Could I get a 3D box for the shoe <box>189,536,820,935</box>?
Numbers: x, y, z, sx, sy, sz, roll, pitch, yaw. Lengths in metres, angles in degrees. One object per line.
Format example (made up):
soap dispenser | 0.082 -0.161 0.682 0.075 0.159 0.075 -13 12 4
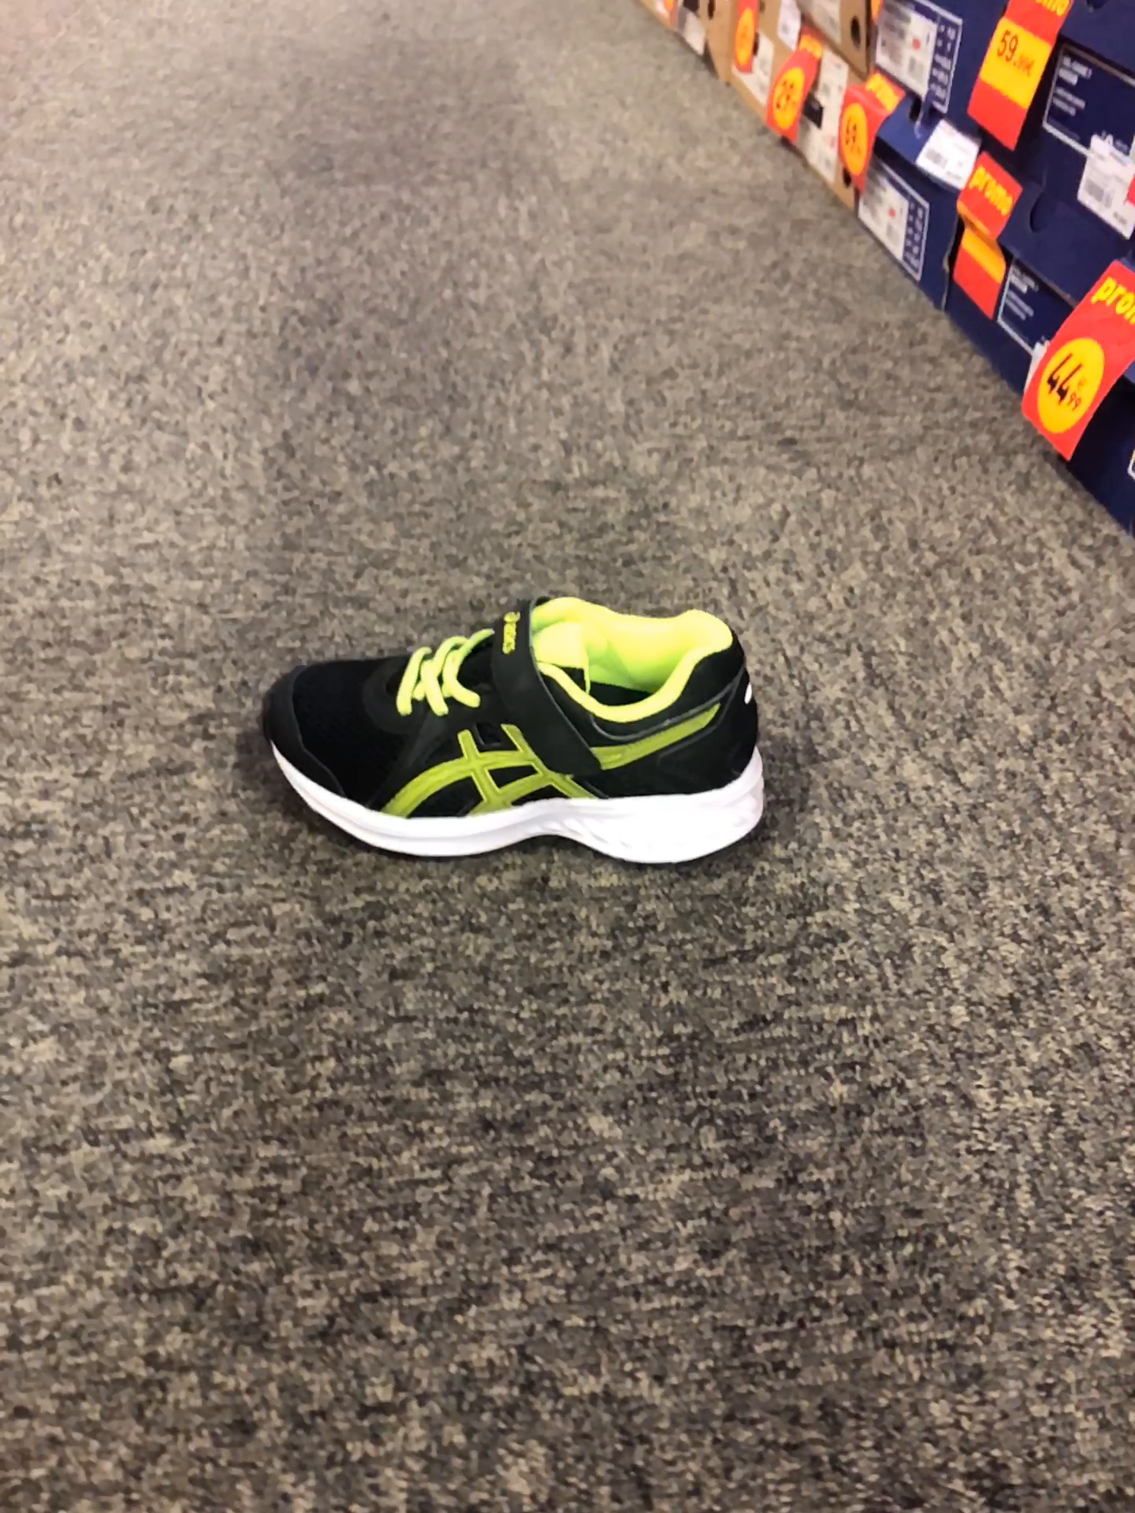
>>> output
shoe | -0.017 -0.010 0.452 0.200 0.080 0.091 7 42 4
